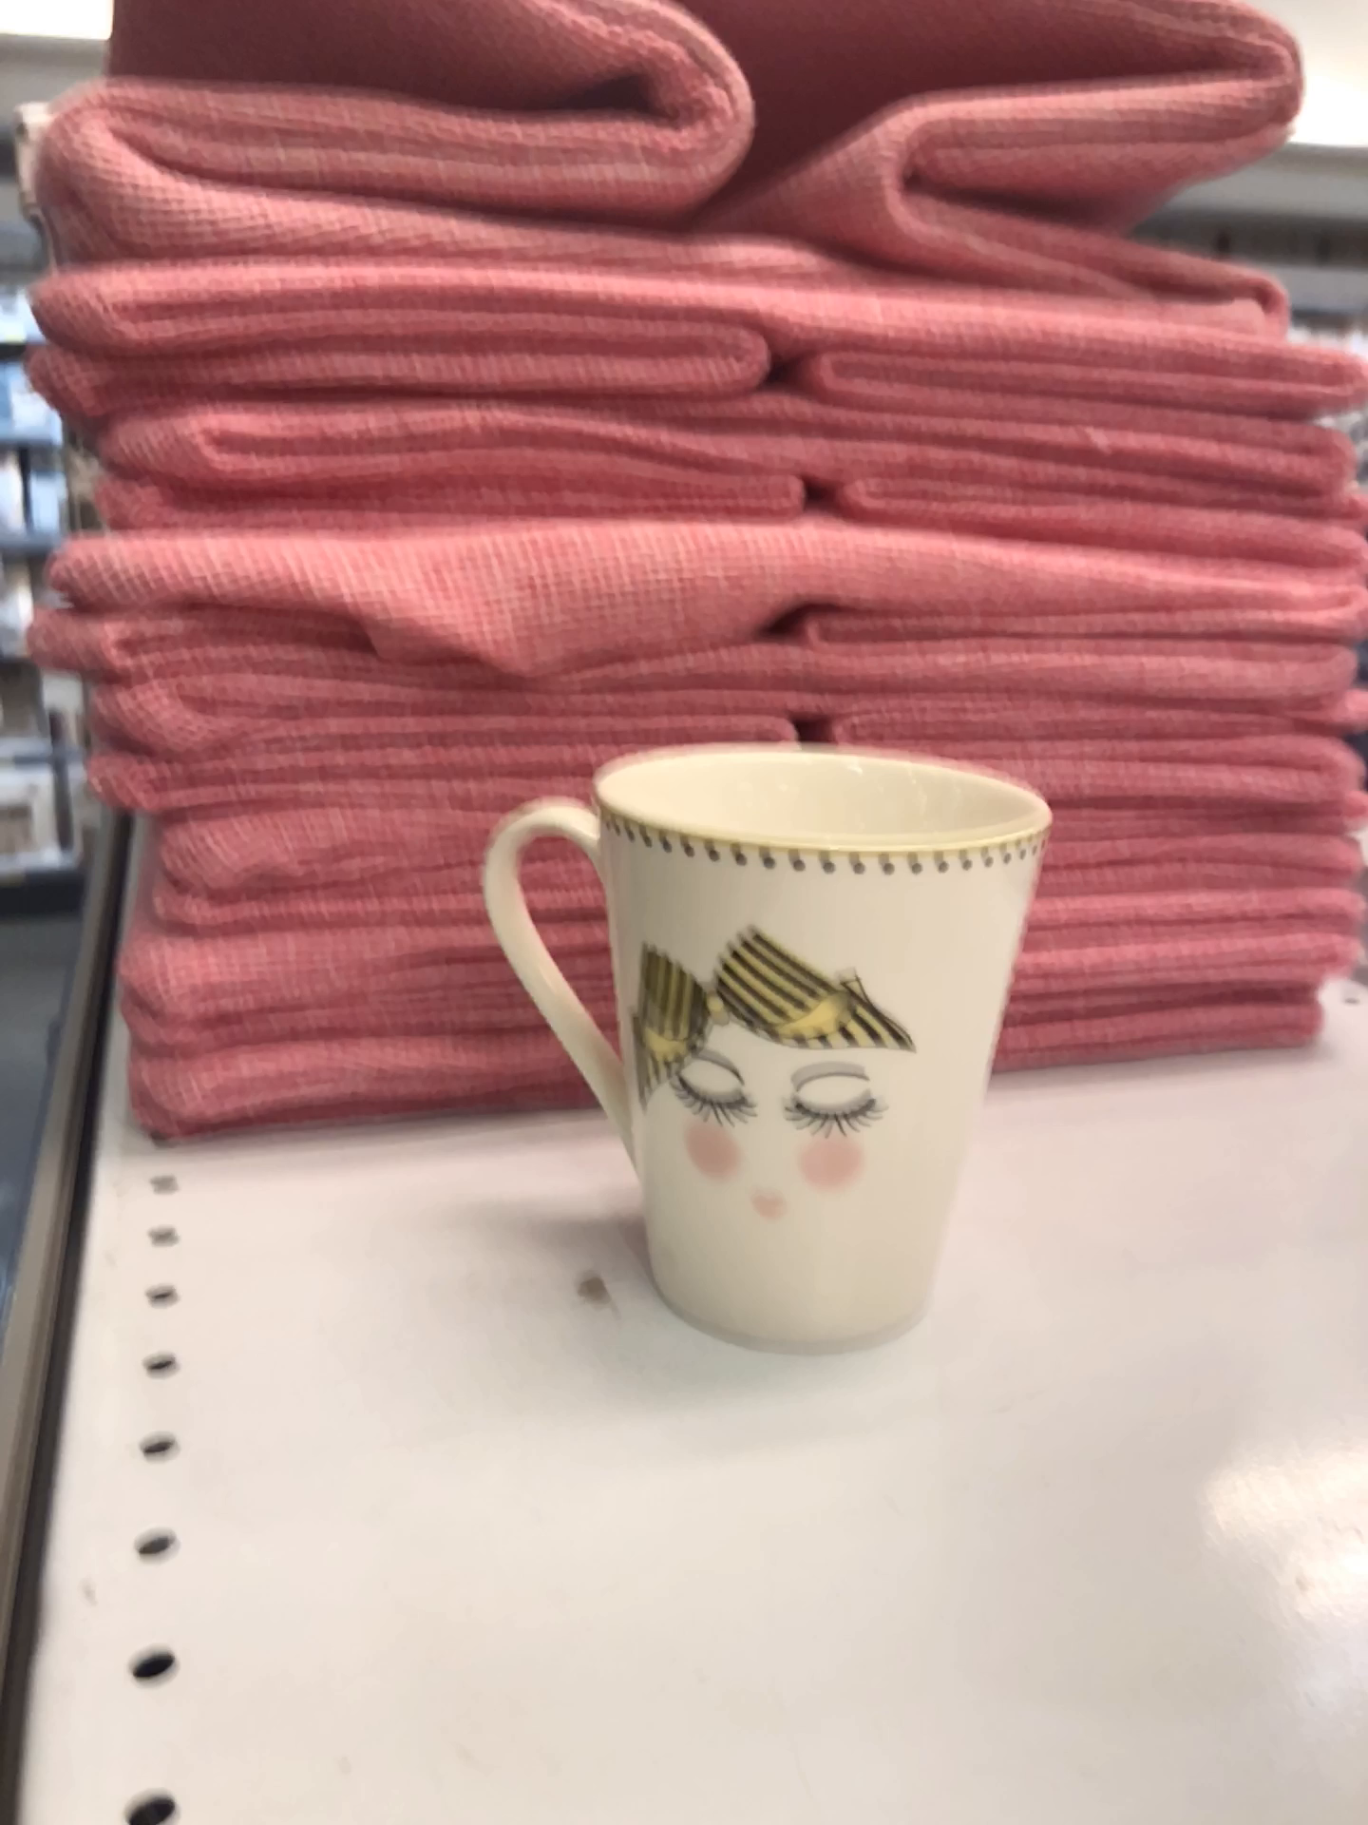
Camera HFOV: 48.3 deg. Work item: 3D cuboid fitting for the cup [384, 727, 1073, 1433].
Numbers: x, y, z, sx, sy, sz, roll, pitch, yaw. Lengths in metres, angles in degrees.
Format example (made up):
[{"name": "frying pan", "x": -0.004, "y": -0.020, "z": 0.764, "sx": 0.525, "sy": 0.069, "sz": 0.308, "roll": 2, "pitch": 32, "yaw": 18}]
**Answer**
[{"name": "cup", "x": 0.014, "y": 0.023, "z": 0.302, "sx": 0.110, "sy": 0.099, "sz": 0.090, "roll": 5, "pitch": 17, "yaw": 16}]
